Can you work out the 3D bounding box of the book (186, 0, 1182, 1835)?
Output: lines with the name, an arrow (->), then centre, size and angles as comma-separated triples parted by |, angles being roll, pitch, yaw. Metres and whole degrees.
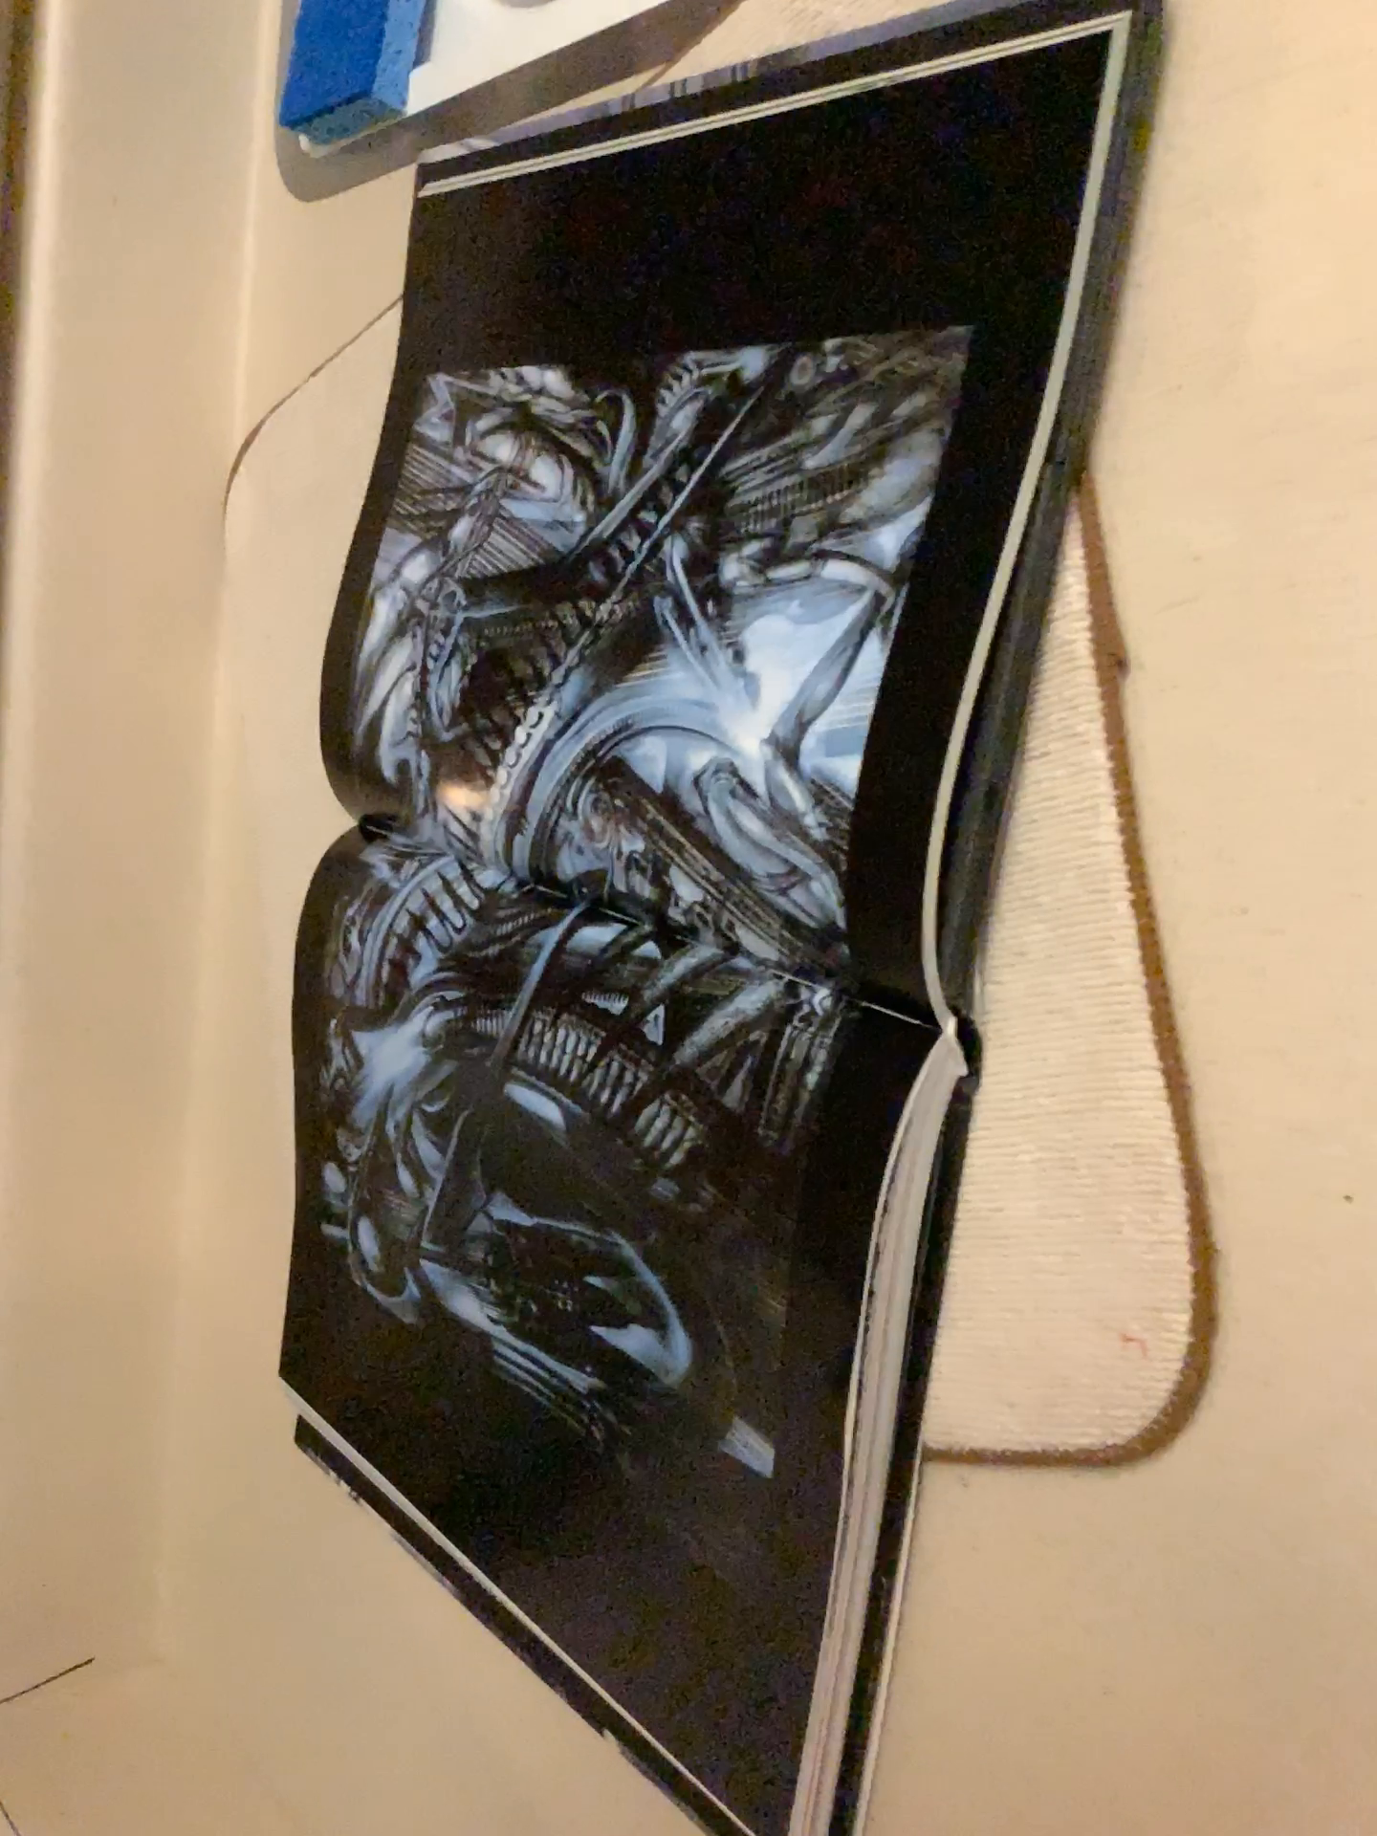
book -> -0.052, -0.010, 0.508 | 0.350, 0.040, 0.530 | 18, 103, 47
